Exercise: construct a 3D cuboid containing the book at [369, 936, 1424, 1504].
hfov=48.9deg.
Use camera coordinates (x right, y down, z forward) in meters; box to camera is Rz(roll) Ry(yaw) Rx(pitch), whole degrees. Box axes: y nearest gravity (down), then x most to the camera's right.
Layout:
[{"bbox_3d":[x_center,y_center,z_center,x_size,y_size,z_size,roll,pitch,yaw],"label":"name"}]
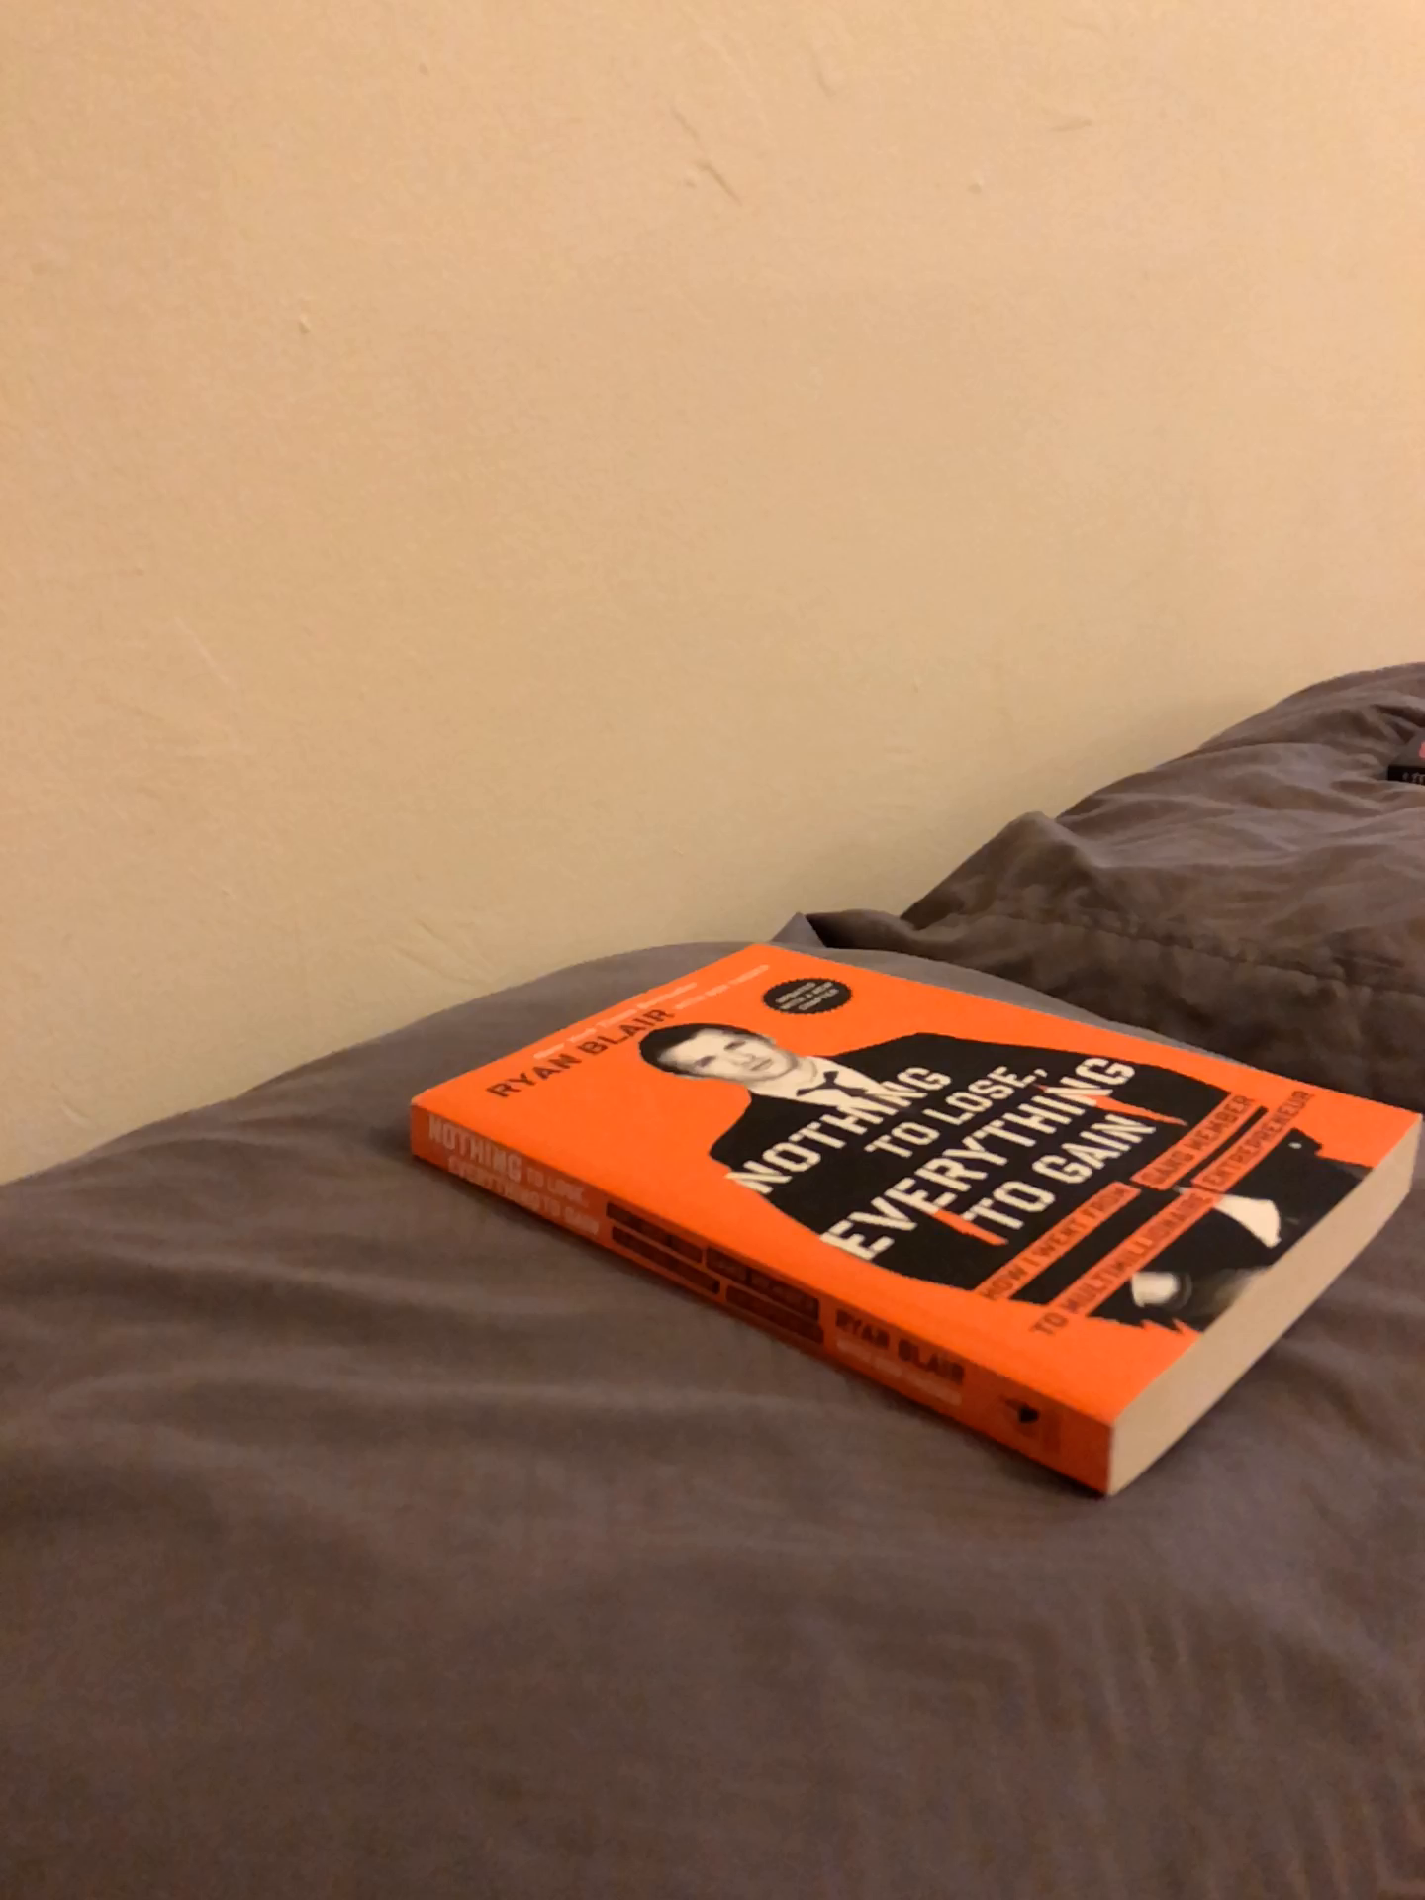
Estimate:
[{"bbox_3d":[0.042,0.047,0.402,0.230,0.020,0.150,16,25,42],"label":"book"}]
